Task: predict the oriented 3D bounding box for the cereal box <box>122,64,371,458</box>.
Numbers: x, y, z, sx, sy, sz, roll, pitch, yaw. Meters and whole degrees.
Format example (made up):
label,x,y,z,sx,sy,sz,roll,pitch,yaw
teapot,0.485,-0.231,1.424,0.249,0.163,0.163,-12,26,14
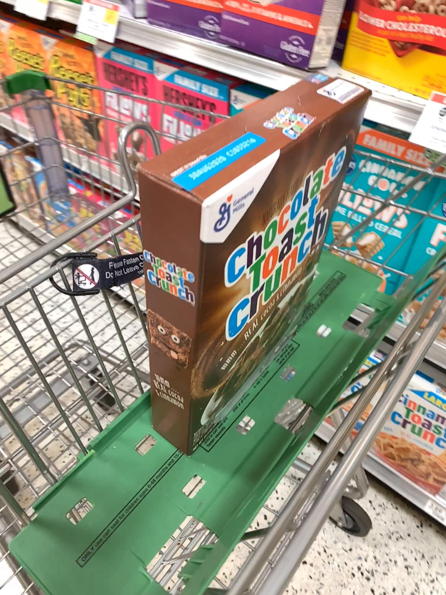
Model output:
label,x,y,z,sx,sy,sz,roll,pitch,yaw
cereal box,0.018,-0.017,0.385,0.050,0.277,0.201,31,51,22
